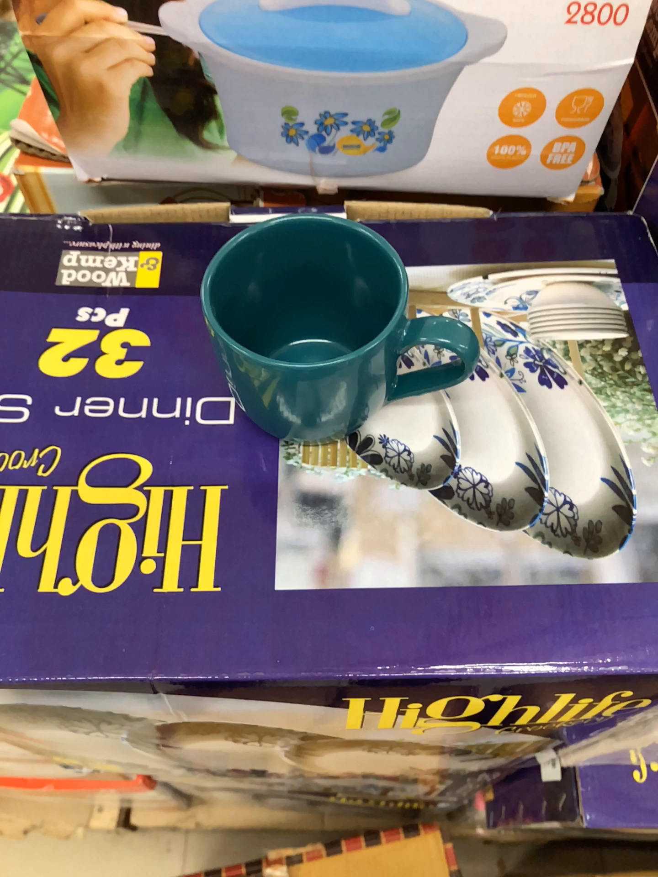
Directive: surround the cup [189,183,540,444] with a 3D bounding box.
[{"bbox_3d":[0.008,-0.037,0.225,0.090,0.050,0.060,-1,59,-2],"label":"cup"}]
